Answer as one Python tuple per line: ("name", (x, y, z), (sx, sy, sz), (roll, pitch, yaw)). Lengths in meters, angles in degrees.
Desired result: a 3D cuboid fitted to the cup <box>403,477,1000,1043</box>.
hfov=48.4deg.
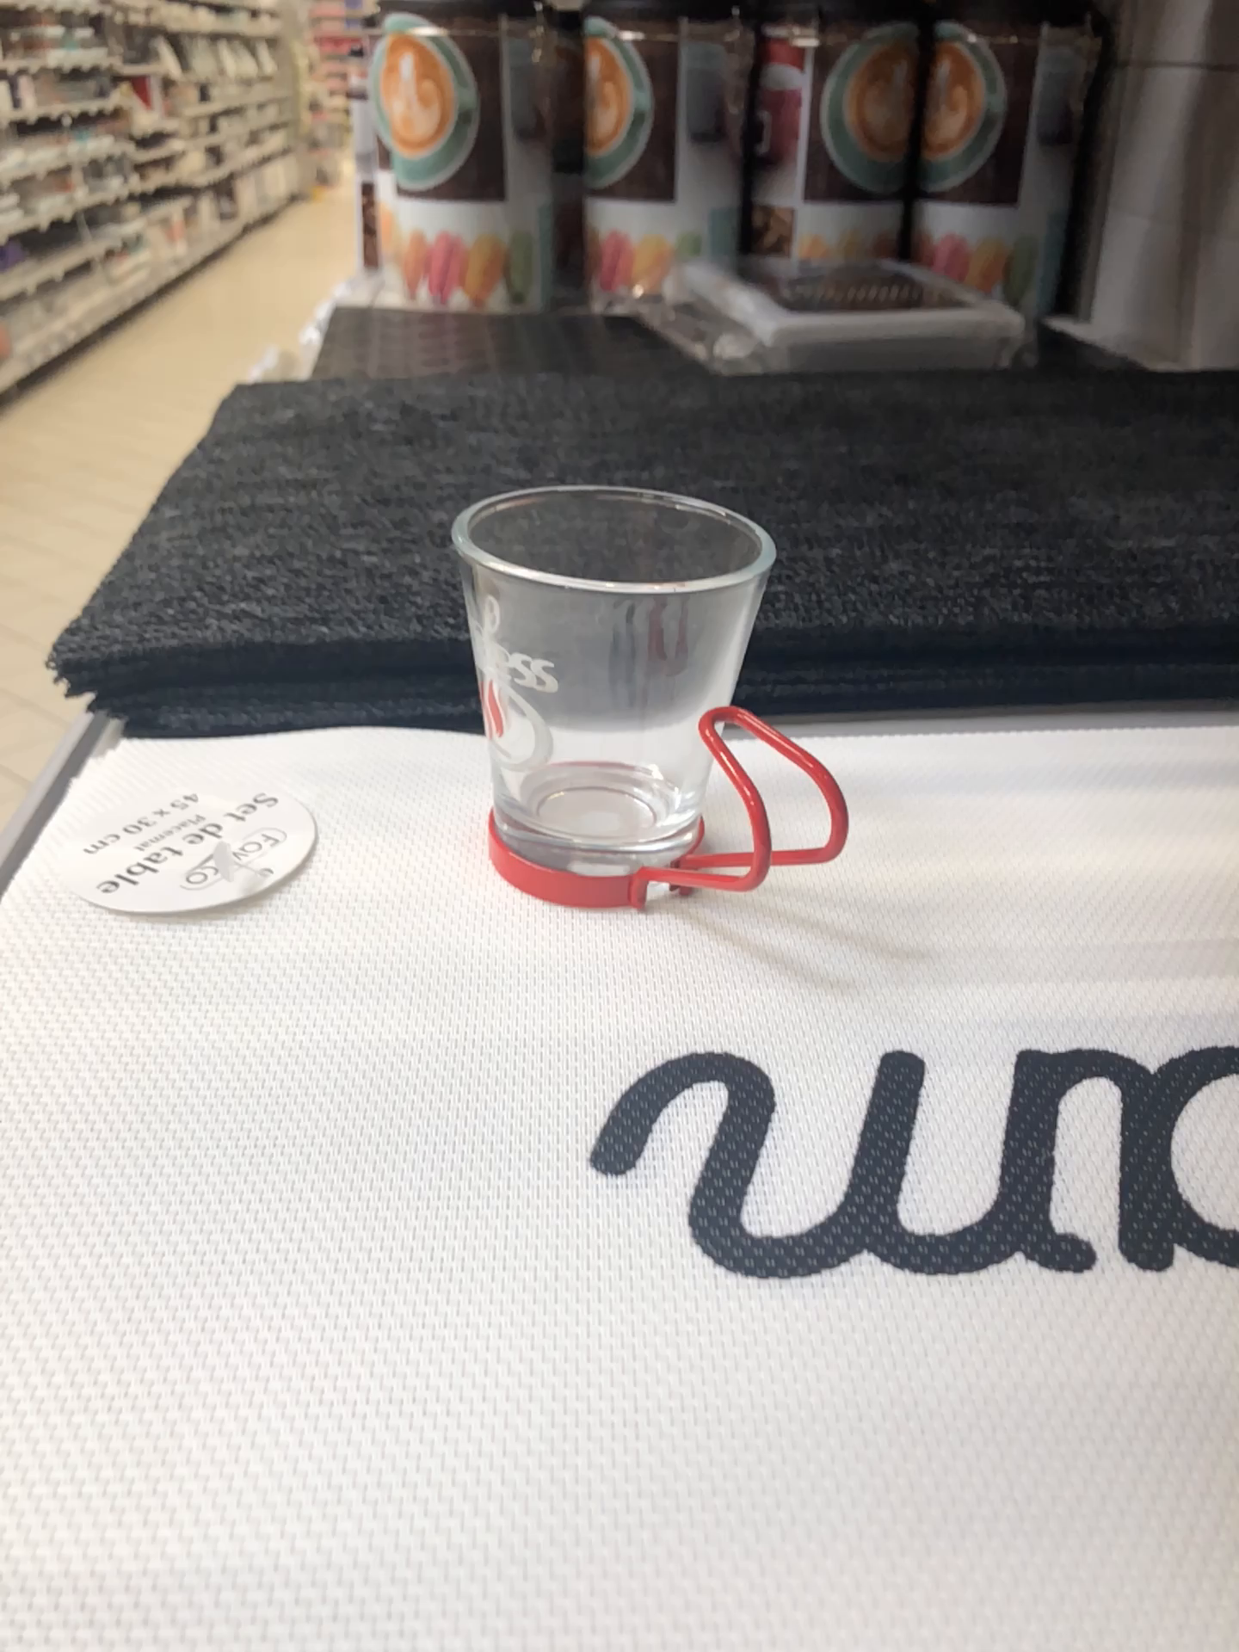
("cup", (0.009, -0.019, 0.253), (0.056, 0.063, 0.092), (-18, 35, -36))
